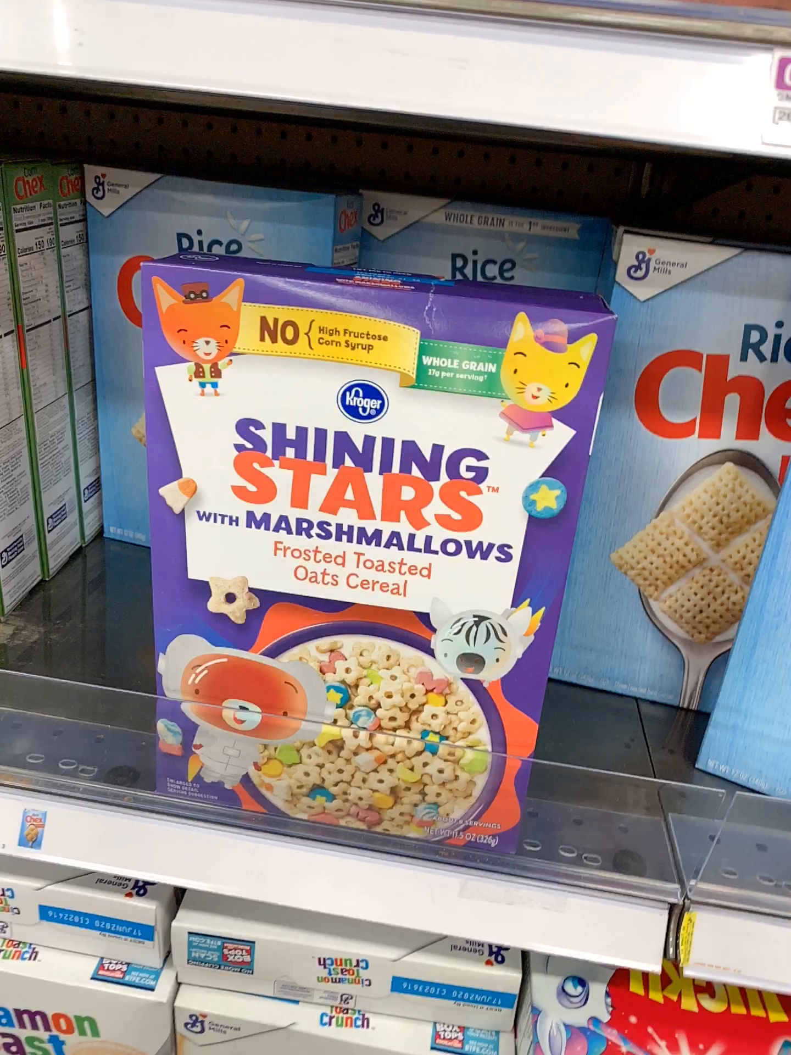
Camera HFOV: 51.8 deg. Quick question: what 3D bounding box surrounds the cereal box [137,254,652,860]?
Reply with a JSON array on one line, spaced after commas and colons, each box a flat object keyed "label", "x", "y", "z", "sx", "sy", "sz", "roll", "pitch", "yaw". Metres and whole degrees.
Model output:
[{"label": "cereal box", "x": -0.011, "y": 0.022, "z": 0.388, "sx": 0.200, "sy": 0.269, "sz": 0.050, "roll": 7, "pitch": 23, "yaw": 4}]
